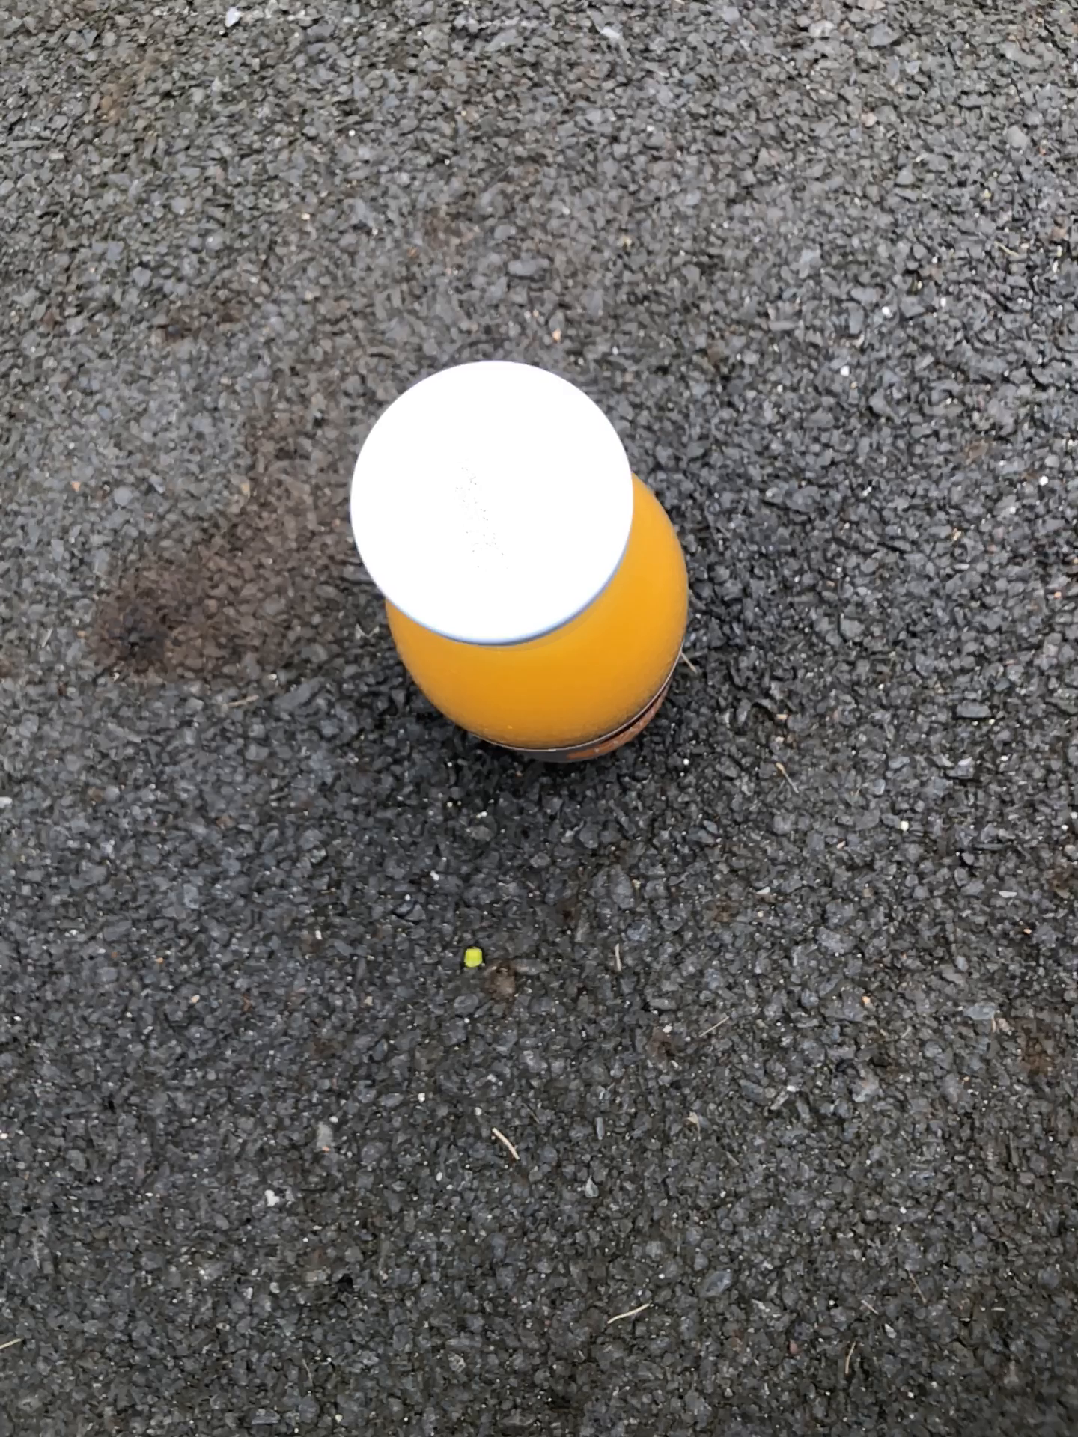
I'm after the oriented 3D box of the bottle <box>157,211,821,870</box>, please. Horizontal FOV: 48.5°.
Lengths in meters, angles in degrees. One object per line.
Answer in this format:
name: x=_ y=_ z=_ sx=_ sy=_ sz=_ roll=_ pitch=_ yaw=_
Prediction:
bottle: x=0.000 y=-0.024 z=0.306 sx=0.080 sy=0.210 sz=0.080 roll=0 pitch=86 yaw=5
